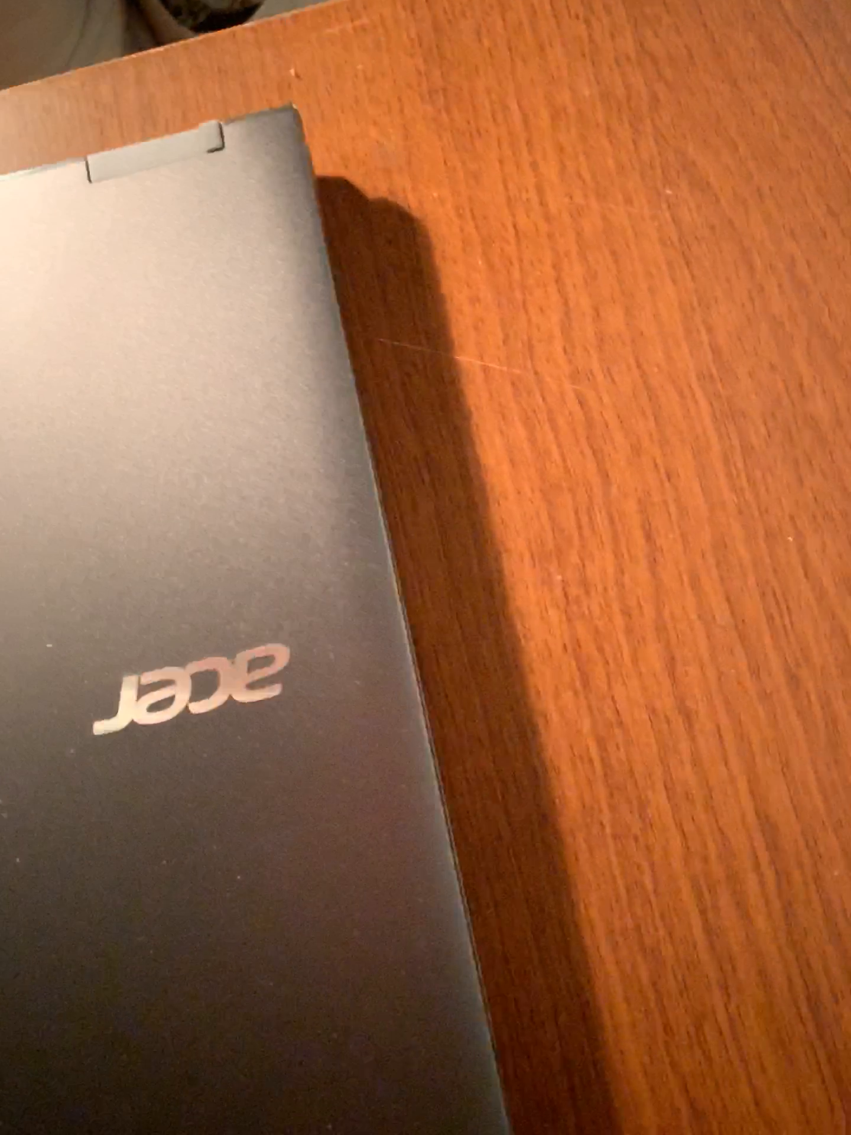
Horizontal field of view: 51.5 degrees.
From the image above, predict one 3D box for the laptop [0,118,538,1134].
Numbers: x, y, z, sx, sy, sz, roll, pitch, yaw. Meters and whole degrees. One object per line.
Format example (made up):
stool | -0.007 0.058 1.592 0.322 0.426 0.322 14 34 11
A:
laptop | -0.150 0.047 0.178 0.299 0.002 0.232 -12 81 3
